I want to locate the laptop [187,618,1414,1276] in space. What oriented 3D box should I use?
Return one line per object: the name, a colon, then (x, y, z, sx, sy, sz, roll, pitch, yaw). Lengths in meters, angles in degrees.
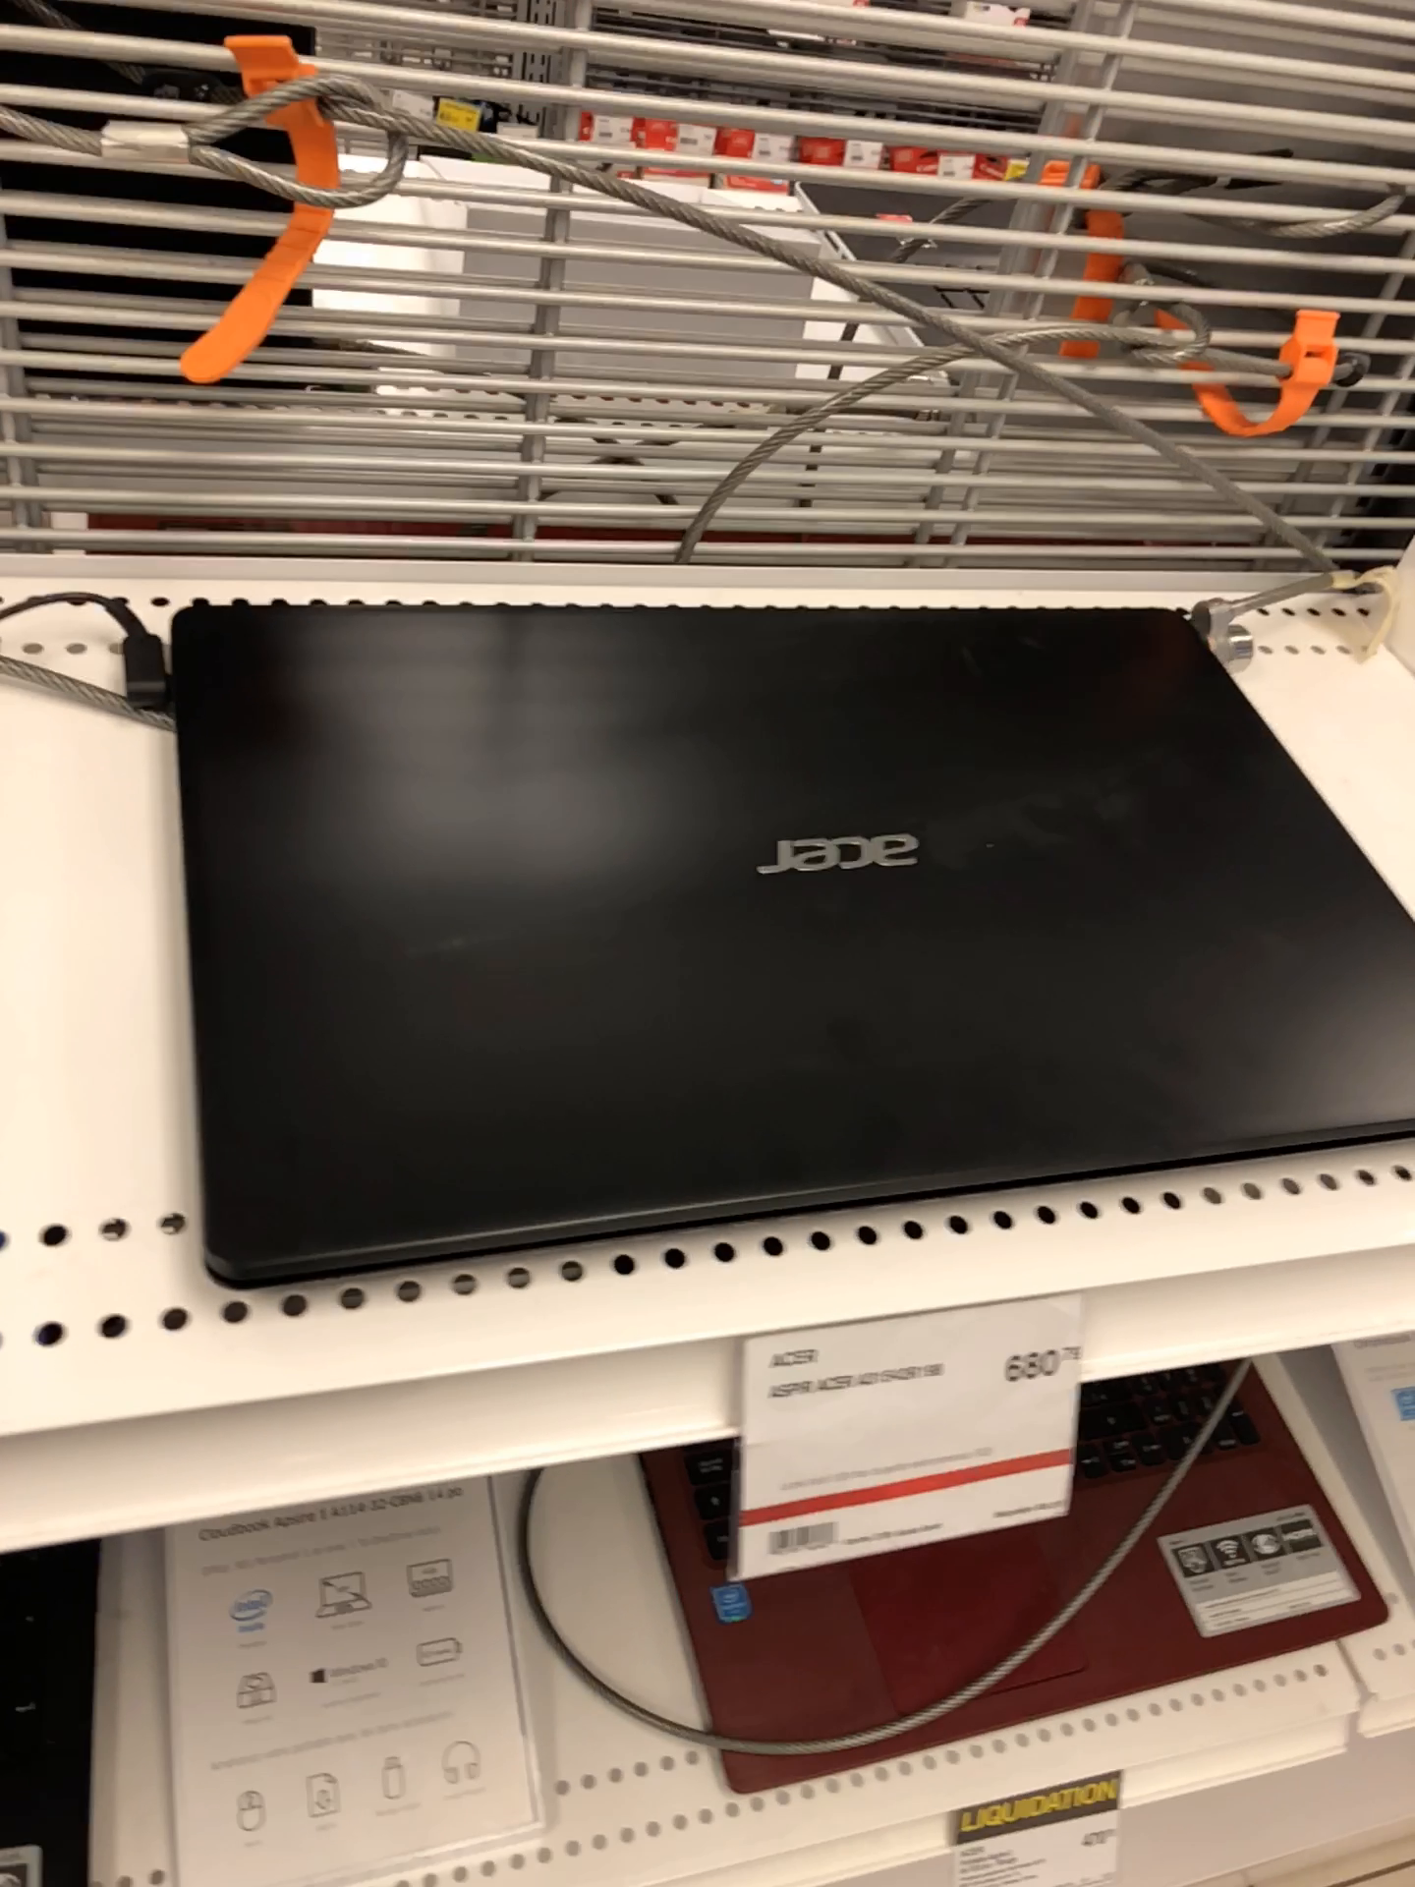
laptop: (0.035, -0.026, 0.464, 0.355, 0.006, 0.232, -4, 47, -19)
